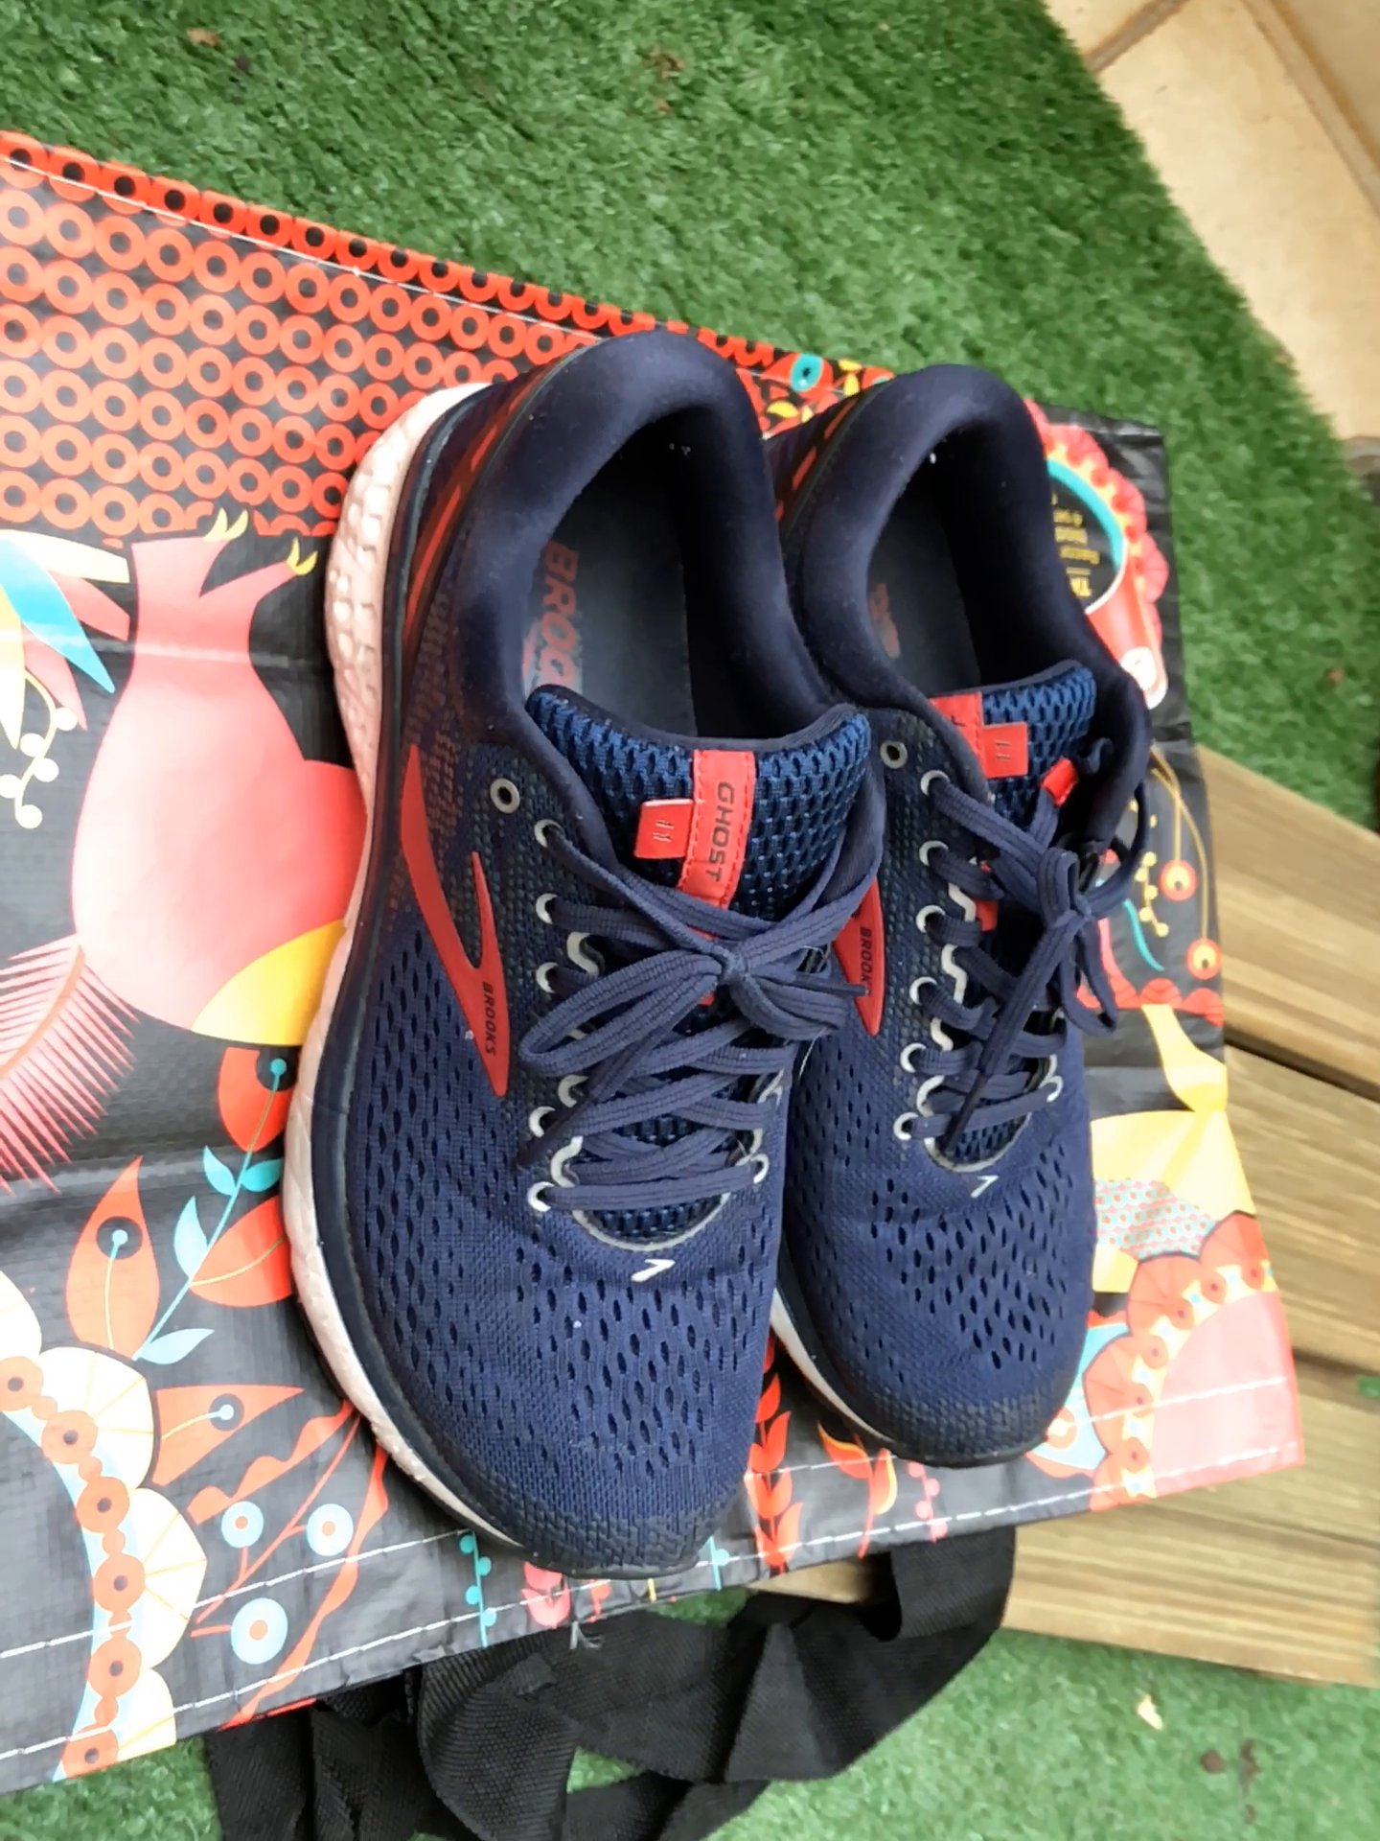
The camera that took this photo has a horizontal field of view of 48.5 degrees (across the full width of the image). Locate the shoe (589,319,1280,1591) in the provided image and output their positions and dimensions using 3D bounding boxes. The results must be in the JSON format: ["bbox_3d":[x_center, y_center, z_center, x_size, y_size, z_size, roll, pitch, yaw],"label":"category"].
[{"bbox_3d":[0.054,0.006,0.384,0.100,0.100,0.265,-4,84,-28],"label":"shoe"}]

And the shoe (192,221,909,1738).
[{"bbox_3d":[-0.038,0.008,0.336,0.108,0.100,0.265,-2,83,-28],"label":"shoe"}]
